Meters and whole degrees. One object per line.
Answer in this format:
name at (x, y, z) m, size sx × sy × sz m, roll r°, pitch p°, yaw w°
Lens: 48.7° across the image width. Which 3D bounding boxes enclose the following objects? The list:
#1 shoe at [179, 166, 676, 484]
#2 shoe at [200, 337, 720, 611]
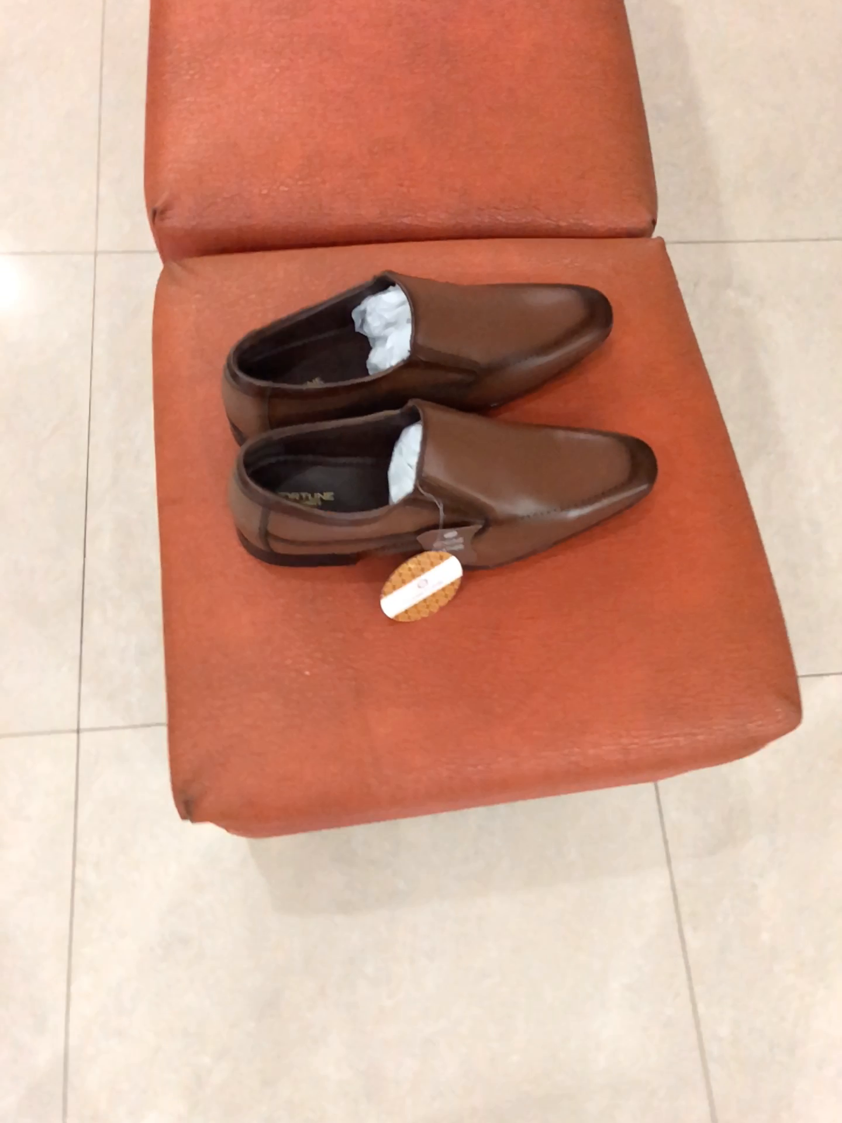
shoe at (0.003, -0.159, 0.631) m, size 0.295 × 0.108 × 0.101 m, roll -17°, pitch 72°, yaw -11°
shoe at (0.018, -0.054, 0.604) m, size 0.293 × 0.128 × 0.099 m, roll -7°, pitch 71°, yaw -8°
